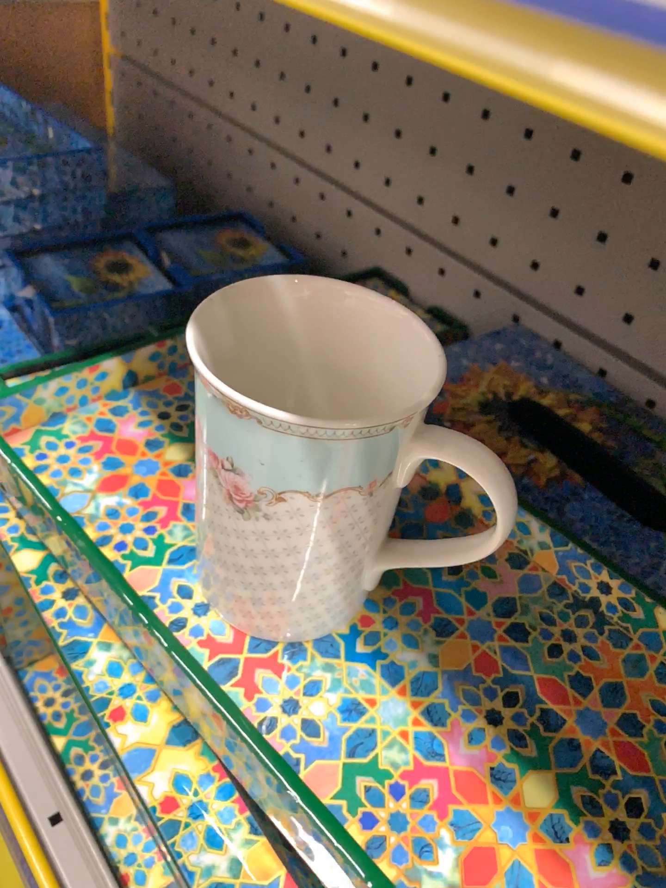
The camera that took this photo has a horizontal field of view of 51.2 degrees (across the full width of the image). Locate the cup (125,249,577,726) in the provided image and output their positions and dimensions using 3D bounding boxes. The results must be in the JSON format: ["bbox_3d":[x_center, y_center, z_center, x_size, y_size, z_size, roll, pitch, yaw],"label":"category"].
[{"bbox_3d":[0.004,0.012,0.231,0.110,0.100,0.080,20,41,11],"label":"cup"}]
